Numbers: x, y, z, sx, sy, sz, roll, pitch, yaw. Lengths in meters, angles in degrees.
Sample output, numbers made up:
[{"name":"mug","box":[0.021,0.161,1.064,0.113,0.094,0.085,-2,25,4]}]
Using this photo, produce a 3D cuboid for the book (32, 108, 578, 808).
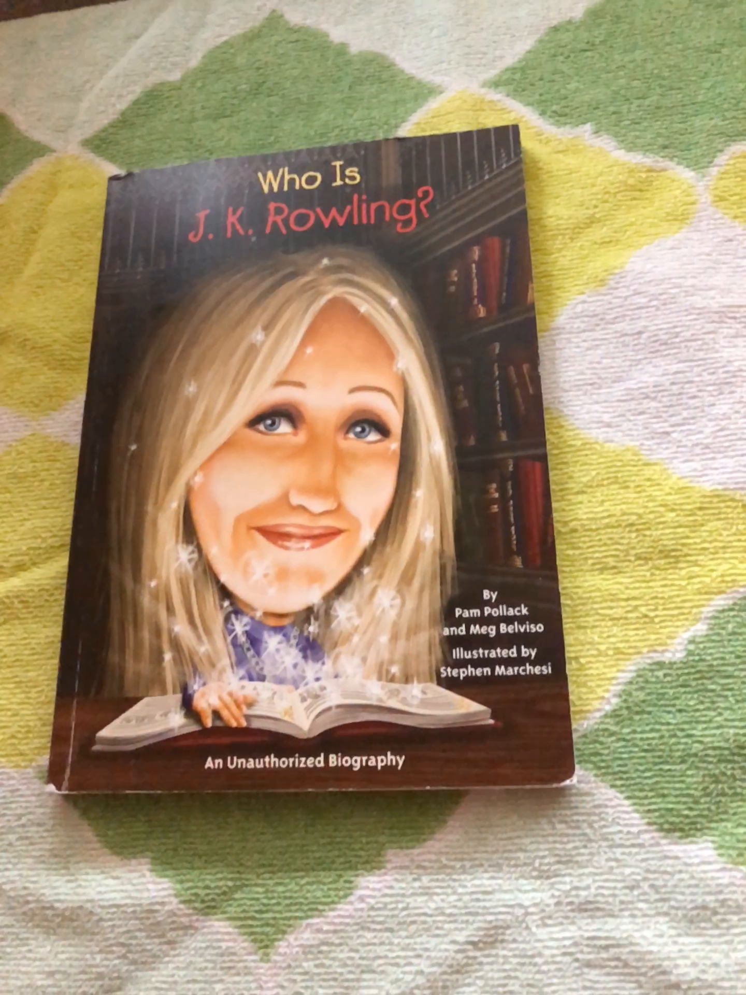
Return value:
[{"name":"book","box":[-0.018,-0.017,0.222,0.126,0.012,0.187,-3,71,8]}]
